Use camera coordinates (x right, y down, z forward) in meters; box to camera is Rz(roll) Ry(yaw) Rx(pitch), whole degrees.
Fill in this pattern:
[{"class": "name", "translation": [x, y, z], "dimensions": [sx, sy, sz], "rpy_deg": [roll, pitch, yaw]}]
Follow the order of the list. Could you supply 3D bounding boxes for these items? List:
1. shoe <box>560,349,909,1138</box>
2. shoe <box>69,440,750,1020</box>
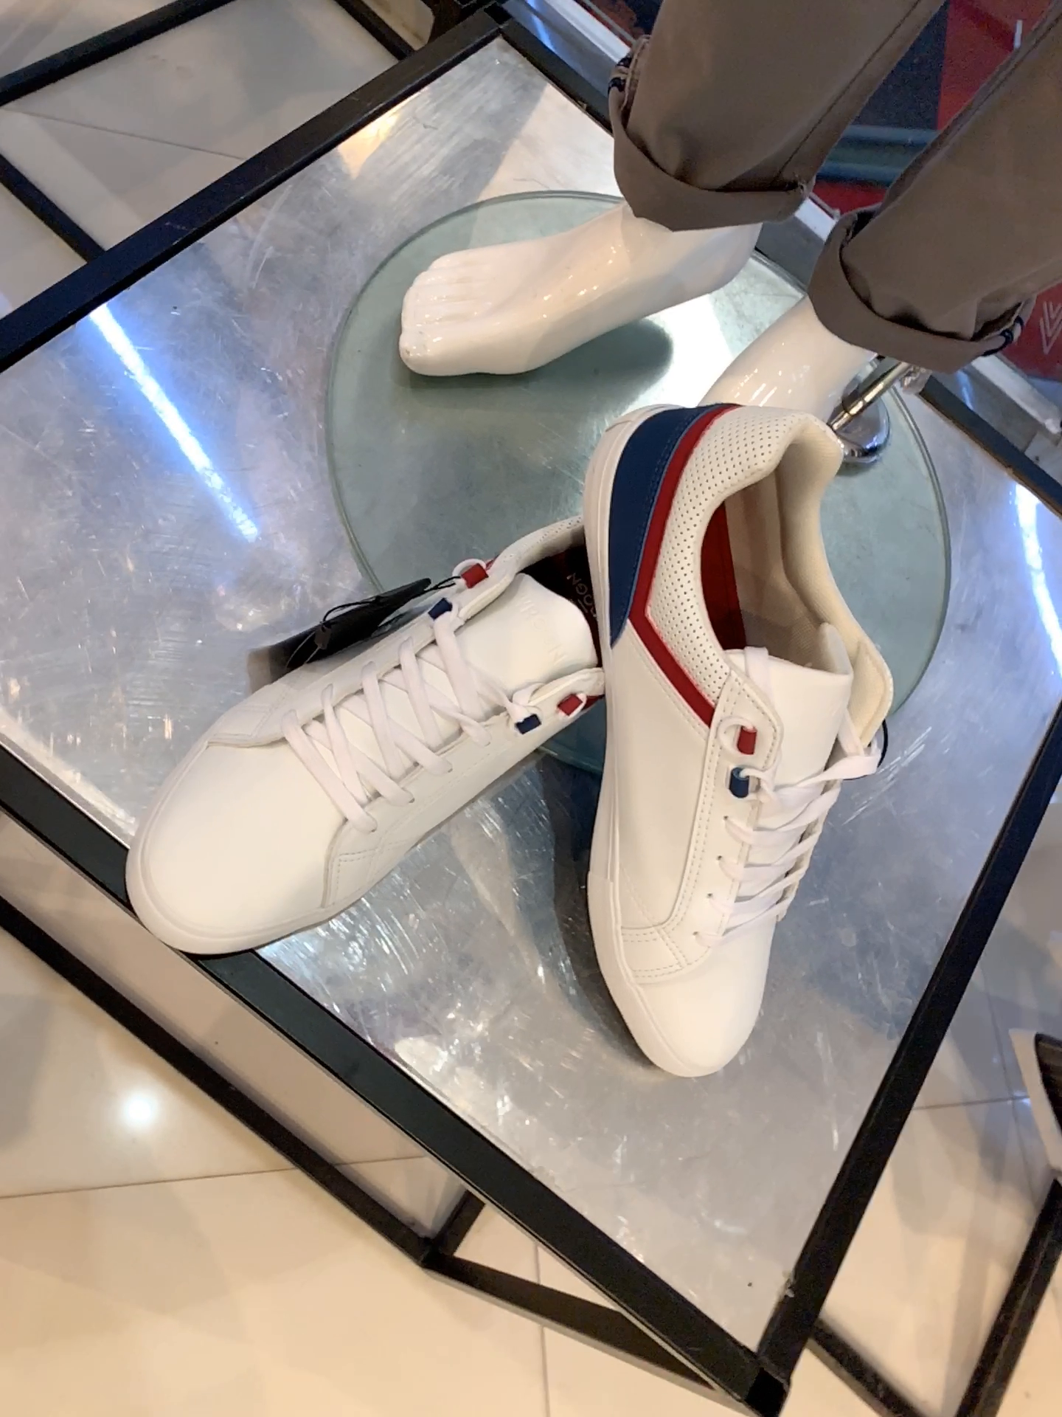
[{"class": "shoe", "translation": [0.081, 0.012, 0.456], "dimensions": [0.100, 0.100, 0.280], "rpy_deg": [1, 88, -29]}, {"class": "shoe", "translation": [-0.048, 0.003, 0.485], "dimensions": [0.281, 0.100, 0.100], "rpy_deg": [-36, 93, -26]}]
